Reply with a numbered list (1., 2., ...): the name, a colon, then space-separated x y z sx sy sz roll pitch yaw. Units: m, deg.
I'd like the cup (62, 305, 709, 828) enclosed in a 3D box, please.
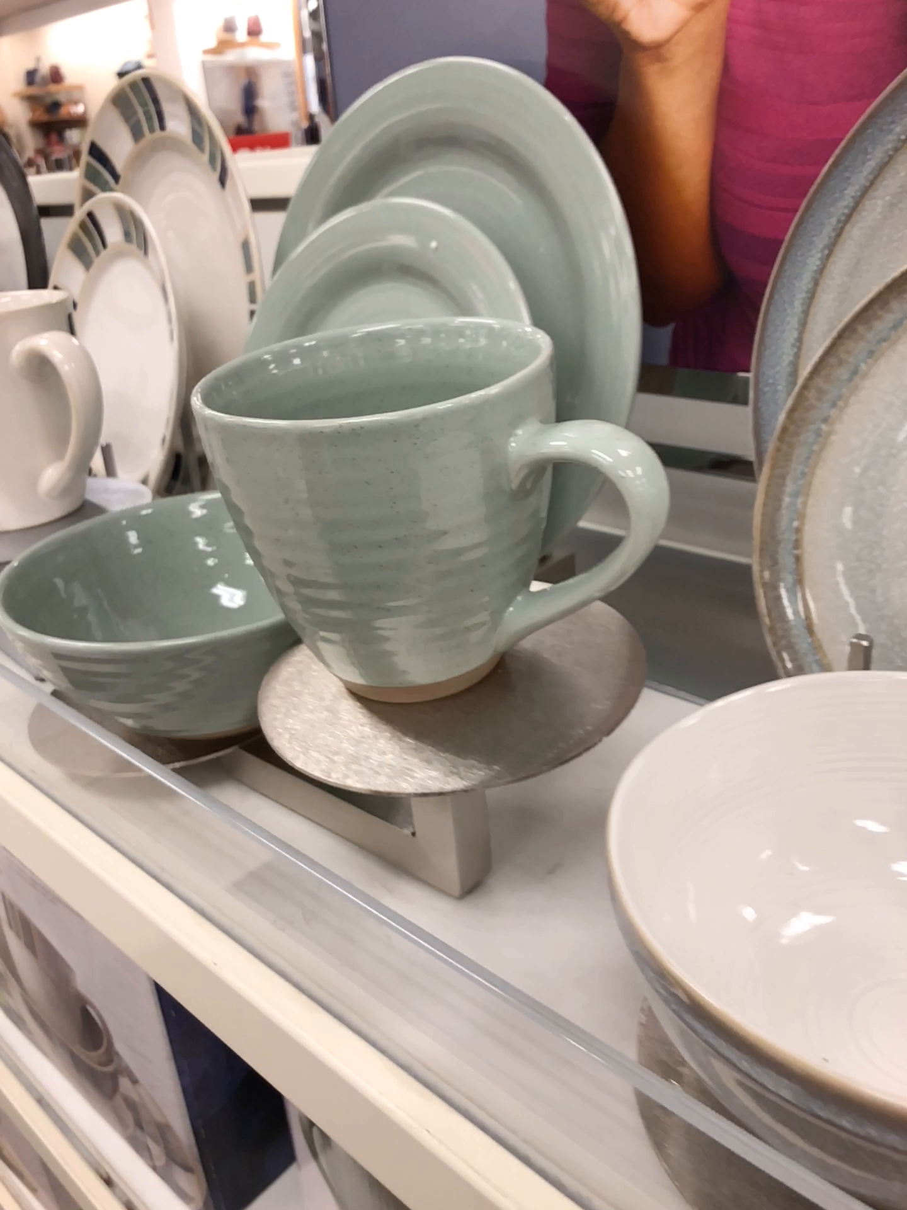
1. cup: -0.011 -0.025 0.289 0.129 0.091 0.116 12 32 32
